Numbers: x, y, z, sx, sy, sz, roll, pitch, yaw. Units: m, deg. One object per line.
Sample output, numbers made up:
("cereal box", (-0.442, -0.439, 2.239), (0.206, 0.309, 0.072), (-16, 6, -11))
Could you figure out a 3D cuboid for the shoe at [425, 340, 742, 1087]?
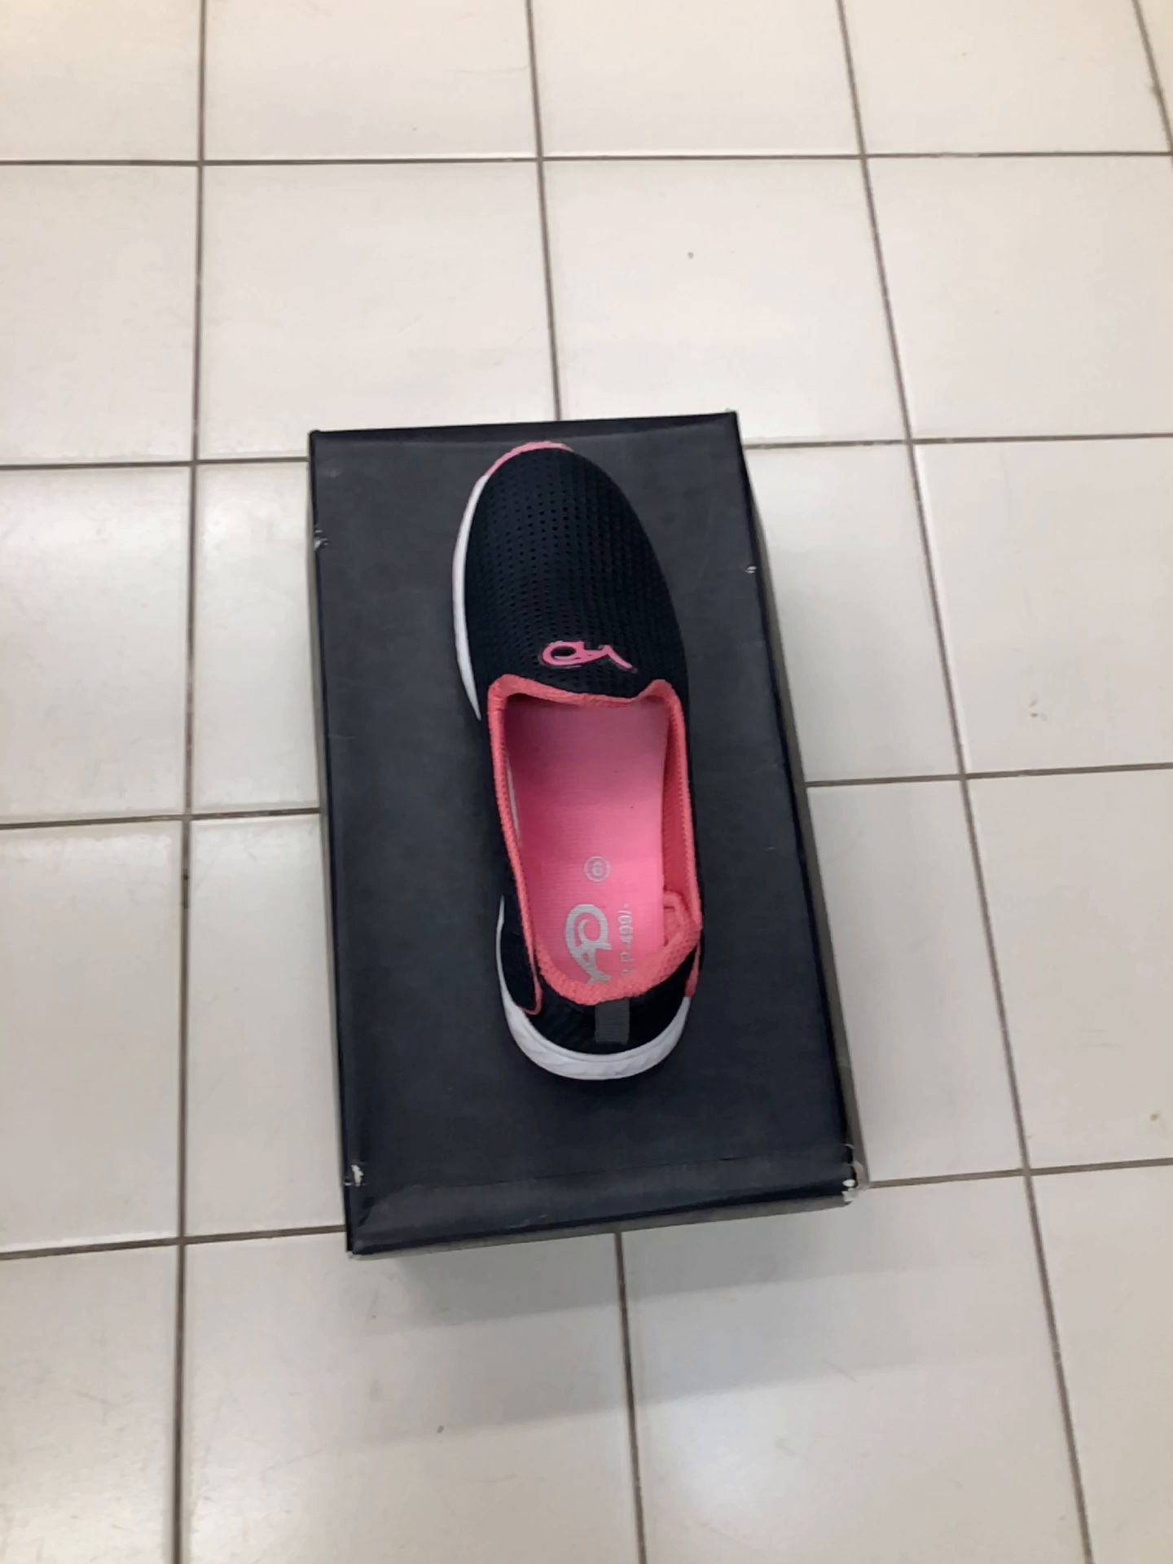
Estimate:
("shoe", (-0.008, -0.025, 0.509), (0.090, 0.100, 0.270), (-4, 74, -5))
